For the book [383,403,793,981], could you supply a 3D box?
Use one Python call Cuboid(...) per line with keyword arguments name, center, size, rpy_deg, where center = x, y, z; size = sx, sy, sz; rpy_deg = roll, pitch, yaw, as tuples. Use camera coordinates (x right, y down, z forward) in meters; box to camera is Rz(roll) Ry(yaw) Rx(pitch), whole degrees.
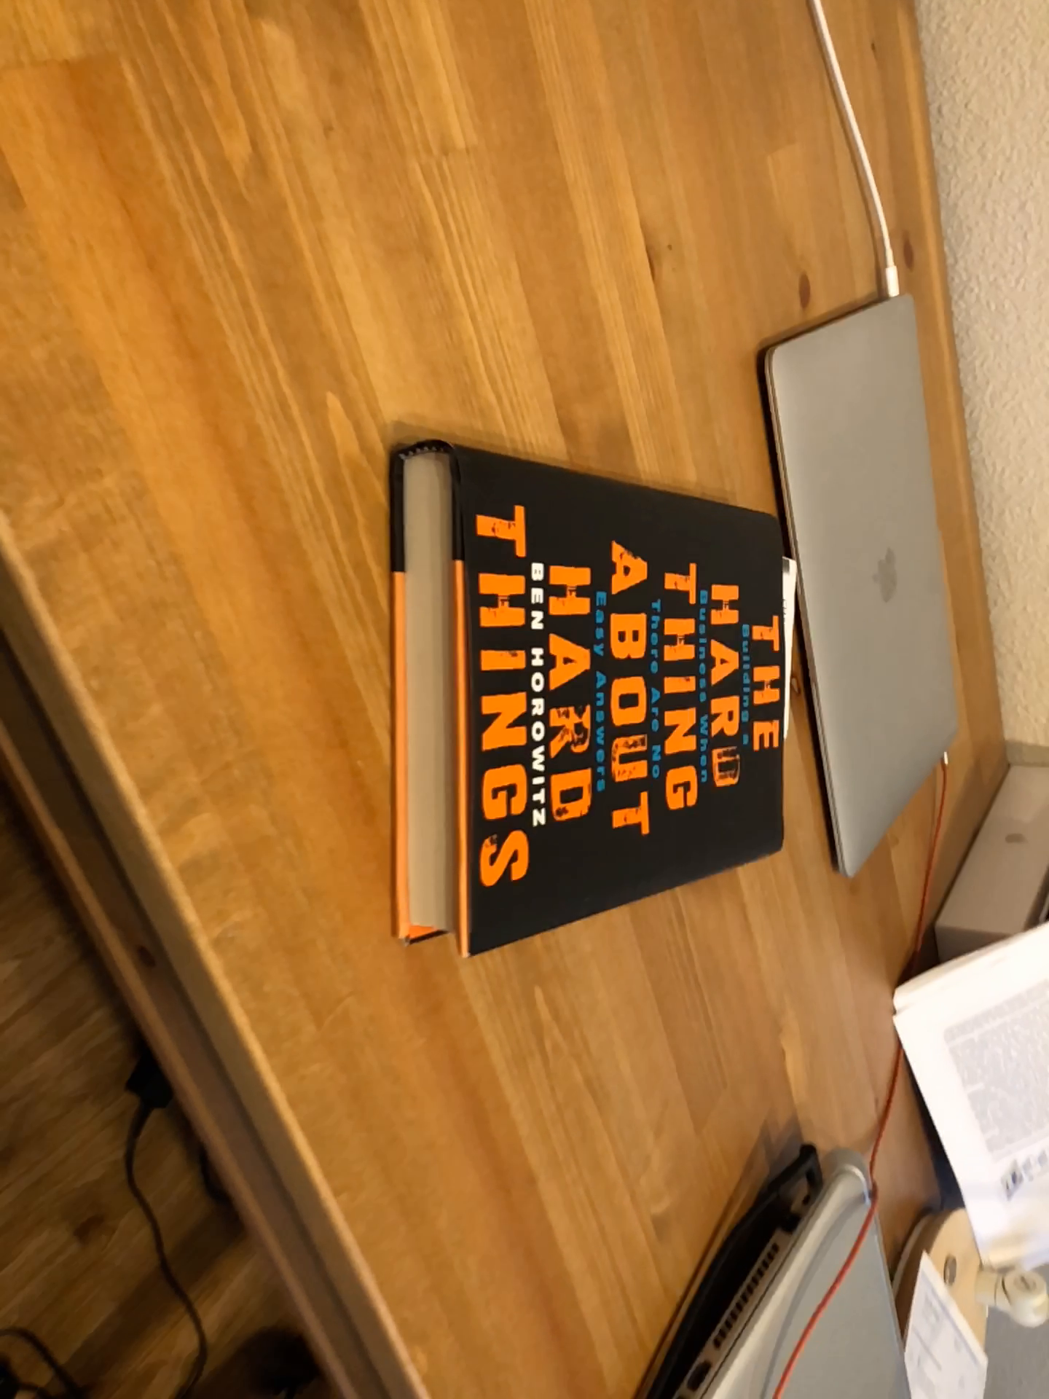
Cuboid(name="book", center=(0.038, -0.006, 0.418), size=(0.221, 0.030, 0.160), rpy_deg=(-4, 95, -54))
